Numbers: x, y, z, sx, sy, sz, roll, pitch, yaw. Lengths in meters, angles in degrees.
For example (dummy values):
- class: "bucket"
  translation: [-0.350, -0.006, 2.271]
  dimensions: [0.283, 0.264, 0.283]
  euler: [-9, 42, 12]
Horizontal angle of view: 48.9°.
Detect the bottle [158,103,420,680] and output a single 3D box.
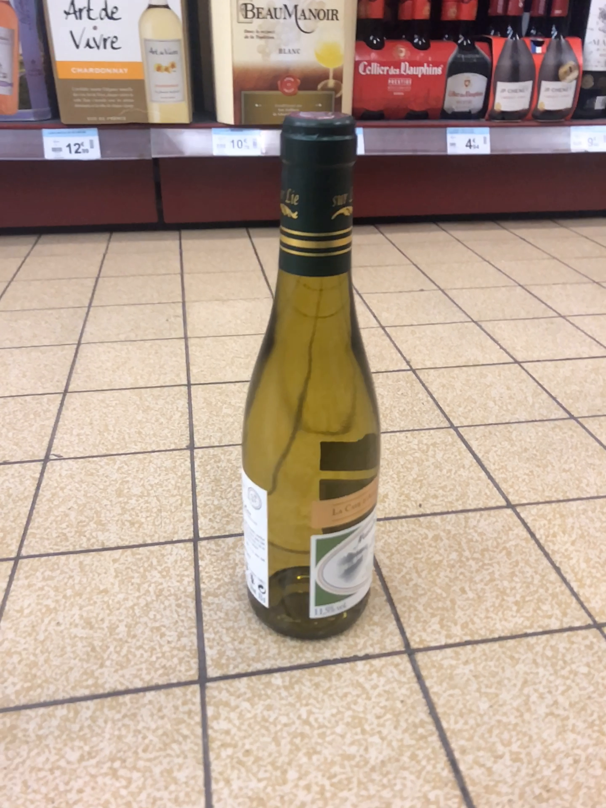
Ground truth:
- class: "bottle"
  translation: [-0.001, 0.001, 0.297]
  dimensions: [0.080, 0.239, 0.081]
  euler: [1, 28, 0]
